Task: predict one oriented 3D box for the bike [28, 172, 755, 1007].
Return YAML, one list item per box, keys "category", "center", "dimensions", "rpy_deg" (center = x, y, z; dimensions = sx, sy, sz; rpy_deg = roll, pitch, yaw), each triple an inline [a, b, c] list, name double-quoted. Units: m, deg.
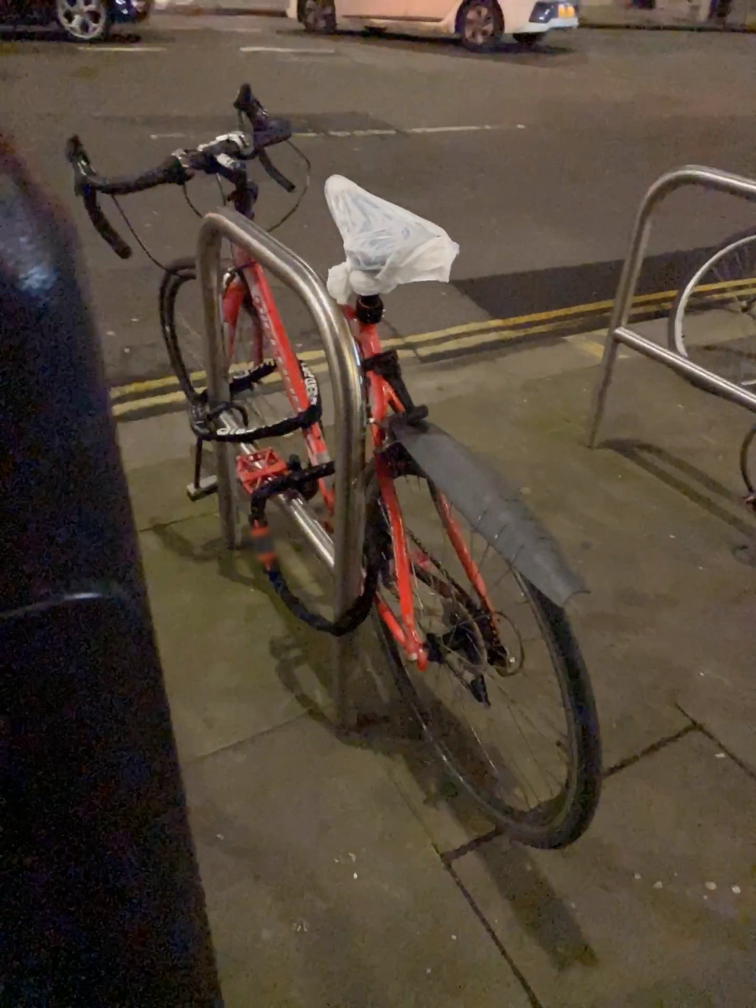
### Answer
- category: "bike"
  center: [-0.180, -0.065, 1.585]
  dimensions: [0.538, 0.809, 1.666]
  rpy_deg: [-18, 40, -26]
